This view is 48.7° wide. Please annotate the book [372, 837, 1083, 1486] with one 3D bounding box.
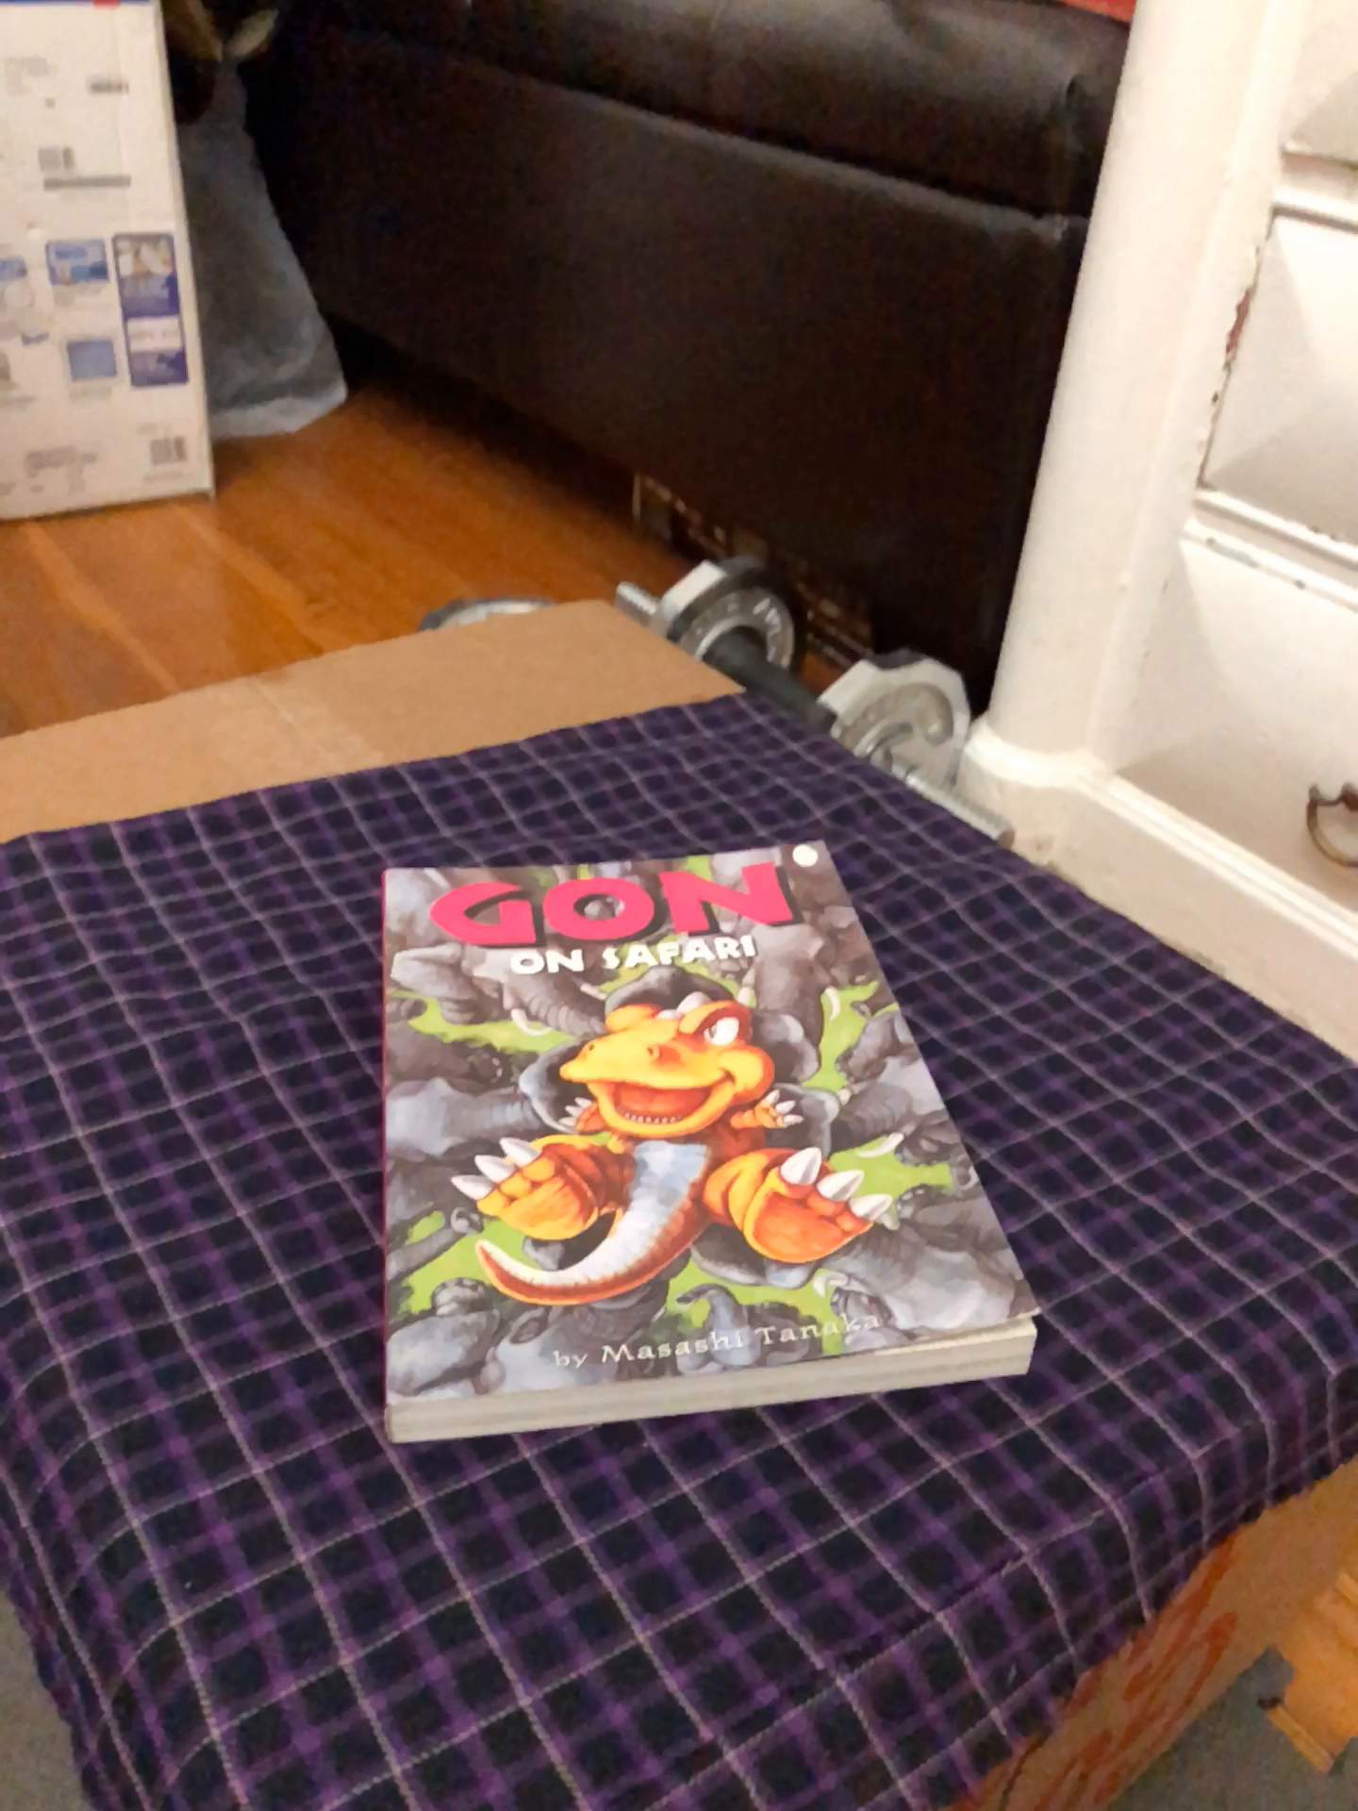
[{"bbox_3d":[-0.004,0.048,0.401,0.150,0.020,0.211,-2,35,-10],"label":"book"}]
